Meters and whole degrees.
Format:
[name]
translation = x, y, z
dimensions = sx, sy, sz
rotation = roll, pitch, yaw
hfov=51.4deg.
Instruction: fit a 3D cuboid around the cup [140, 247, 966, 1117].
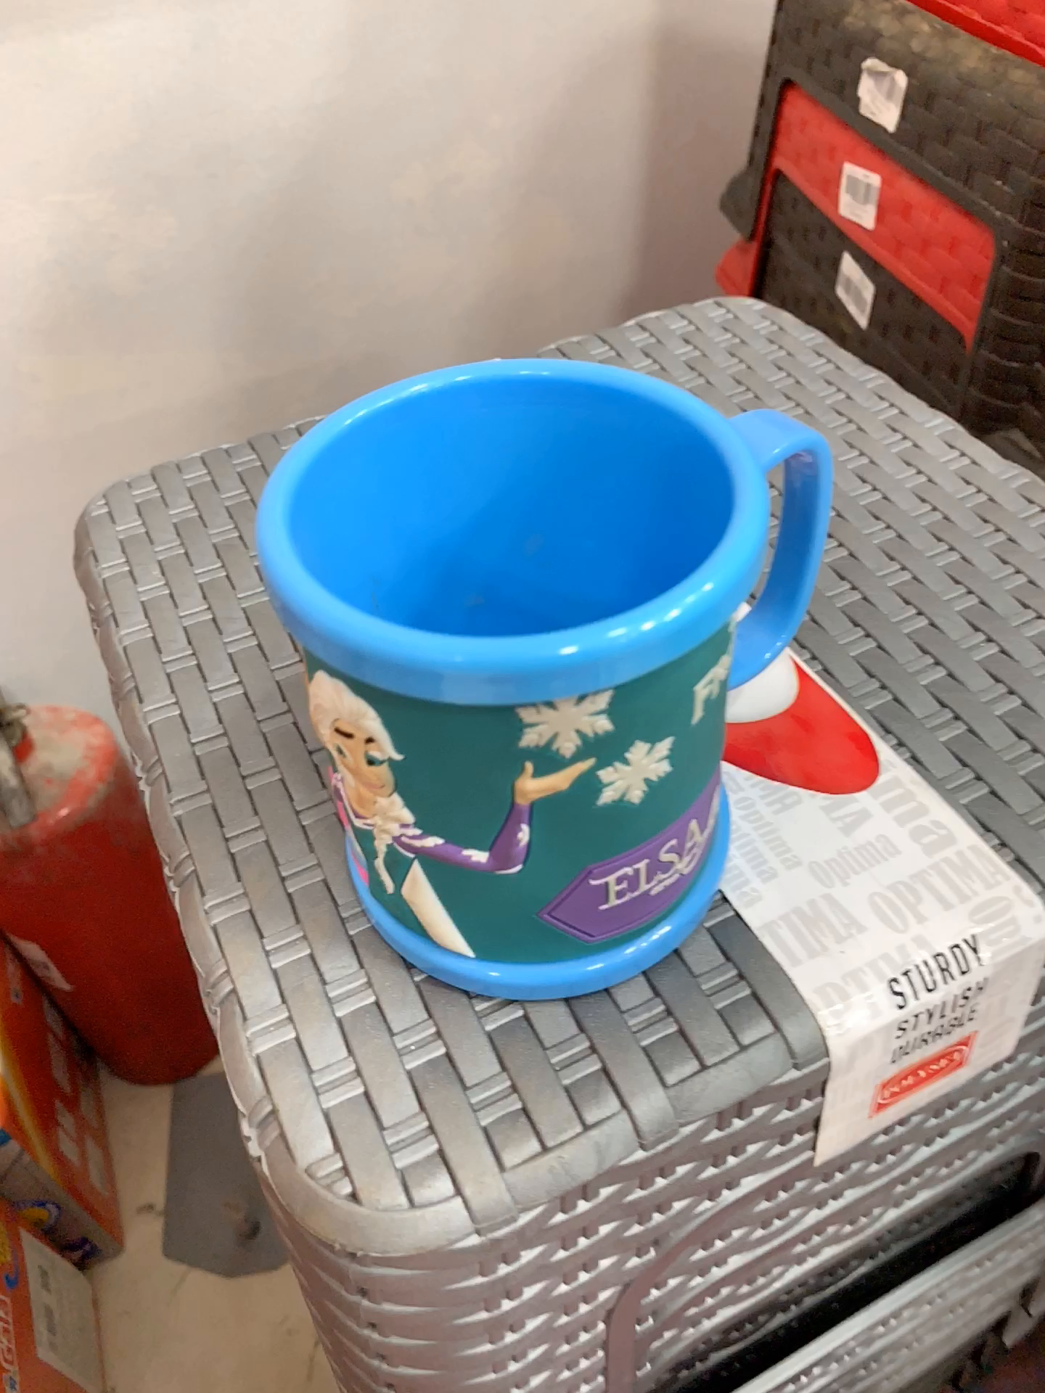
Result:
[cup]
translation = 0.010, -0.007, 0.204
dimensions = 0.078, 0.099, 0.107
rotation = 32, 56, 31
